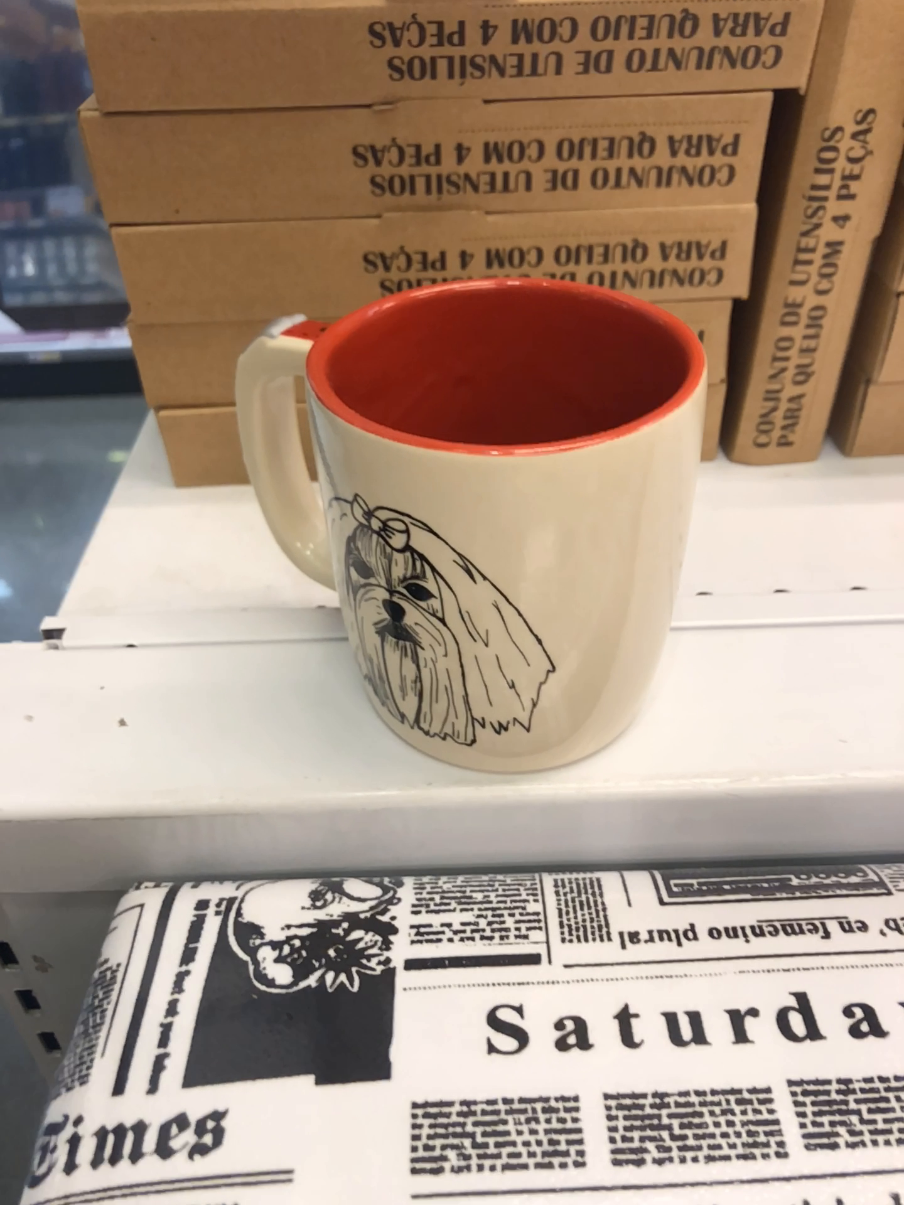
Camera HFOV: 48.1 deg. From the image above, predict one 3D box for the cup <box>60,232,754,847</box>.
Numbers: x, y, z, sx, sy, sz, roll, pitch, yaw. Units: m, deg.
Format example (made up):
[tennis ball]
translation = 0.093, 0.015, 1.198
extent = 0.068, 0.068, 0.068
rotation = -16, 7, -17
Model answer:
[cup]
translation = -0.004, -0.023, 0.242
extent = 0.120, 0.089, 0.091
rotation = 14, 41, 19
